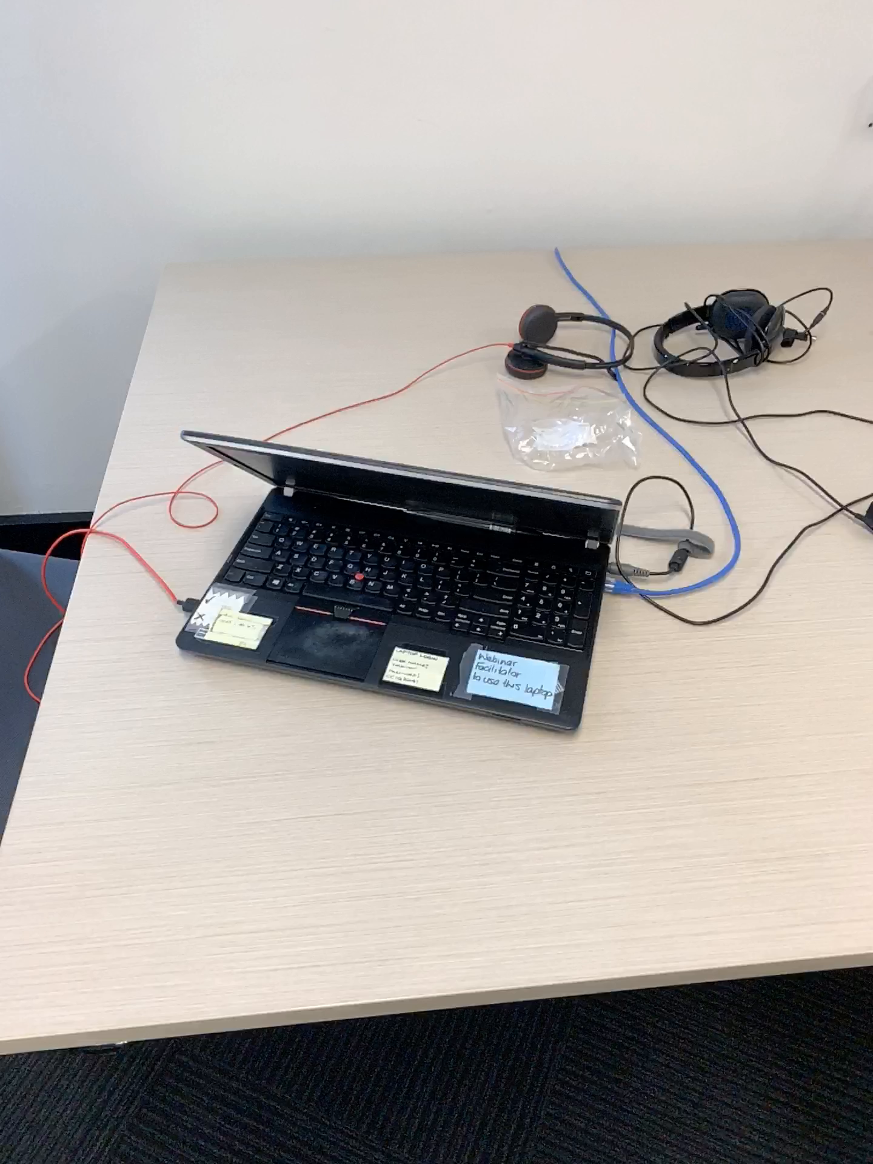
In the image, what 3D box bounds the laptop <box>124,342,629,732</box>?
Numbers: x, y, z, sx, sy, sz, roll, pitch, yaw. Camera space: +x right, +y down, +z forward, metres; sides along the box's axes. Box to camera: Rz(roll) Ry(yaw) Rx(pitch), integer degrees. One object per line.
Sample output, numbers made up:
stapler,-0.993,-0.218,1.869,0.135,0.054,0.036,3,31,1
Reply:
laptop,-0.028,-0.051,0.701,0.325,0.157,0.227,10,41,12
